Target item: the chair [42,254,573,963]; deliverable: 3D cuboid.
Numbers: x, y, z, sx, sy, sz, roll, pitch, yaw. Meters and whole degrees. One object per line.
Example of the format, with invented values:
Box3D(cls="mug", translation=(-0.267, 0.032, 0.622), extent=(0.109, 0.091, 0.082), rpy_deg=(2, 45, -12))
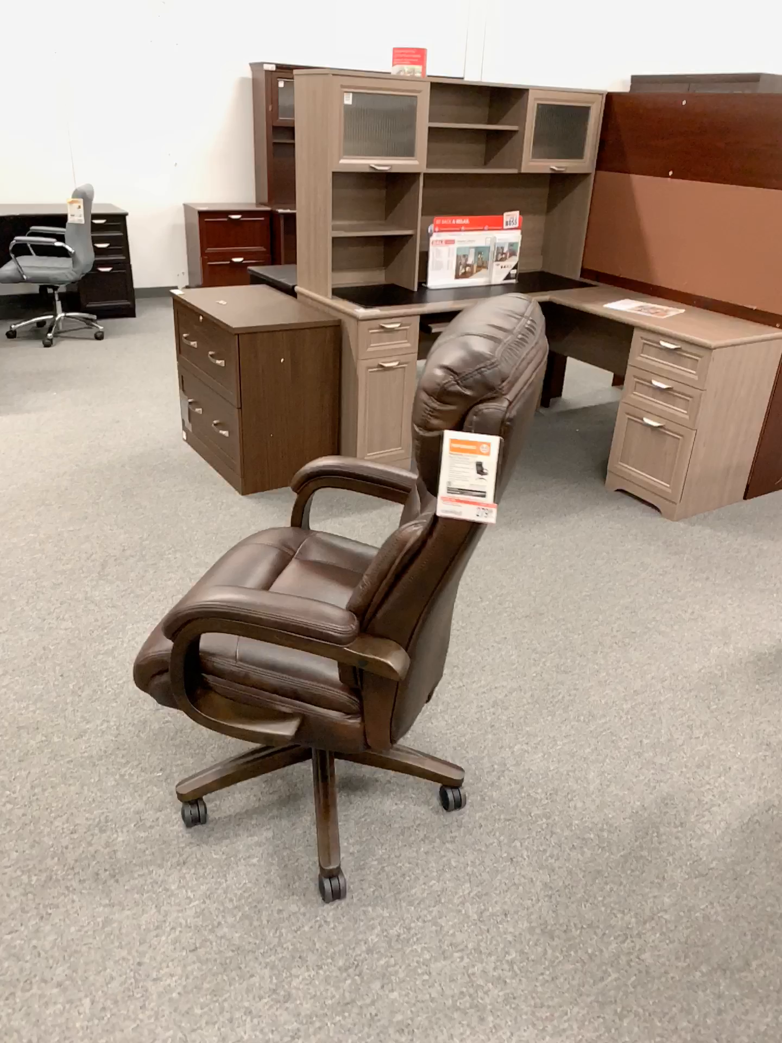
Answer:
Box3D(cls="chair", translation=(-0.083, 0.108, 1.621), extent=(0.700, 1.094, 0.753), rpy_deg=(9, 27, 12))
